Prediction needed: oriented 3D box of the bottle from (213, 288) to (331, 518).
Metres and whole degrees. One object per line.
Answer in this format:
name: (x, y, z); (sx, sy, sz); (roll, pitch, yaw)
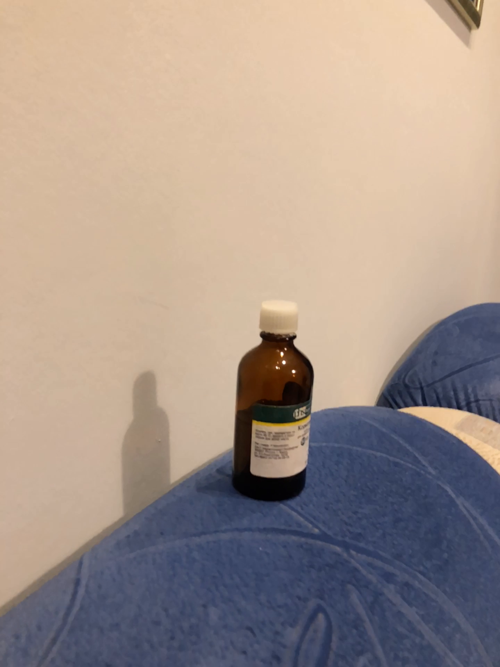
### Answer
bottle: (0.011, 0.031, 0.277); (0.040, 0.100, 0.045); (8, 14, 29)
